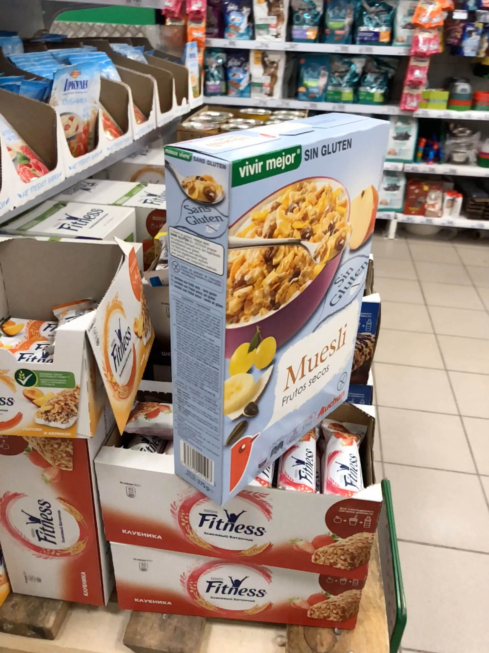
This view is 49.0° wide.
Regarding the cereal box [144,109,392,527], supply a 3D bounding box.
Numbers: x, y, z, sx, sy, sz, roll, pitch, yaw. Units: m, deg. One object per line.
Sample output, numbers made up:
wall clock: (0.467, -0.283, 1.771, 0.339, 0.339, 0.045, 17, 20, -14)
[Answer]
cereal box: (0.024, -0.013, 0.442, 0.060, 0.288, 0.201, 24, 36, 34)
